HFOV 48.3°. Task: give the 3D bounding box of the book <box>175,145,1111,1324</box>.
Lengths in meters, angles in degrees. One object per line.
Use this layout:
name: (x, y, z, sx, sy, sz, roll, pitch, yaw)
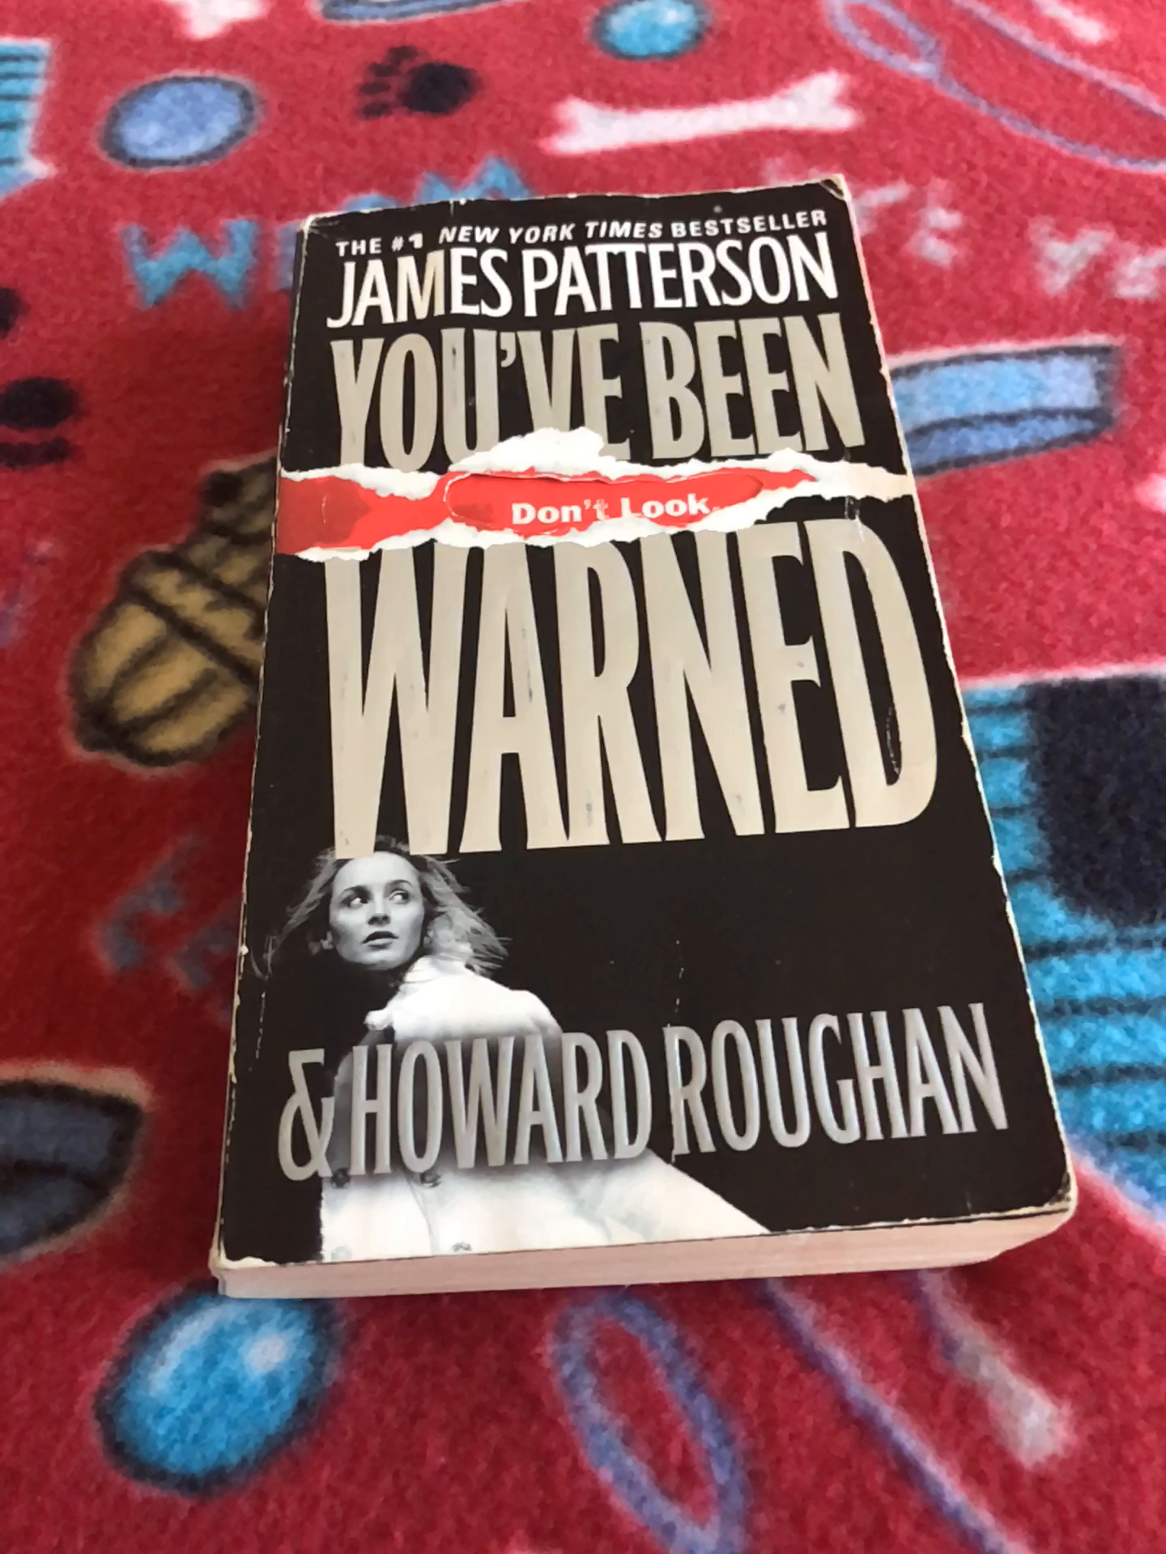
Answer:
book: (0.003, -0.018, 0.211, 0.110, 0.040, 0.191, -2, 65, -2)
